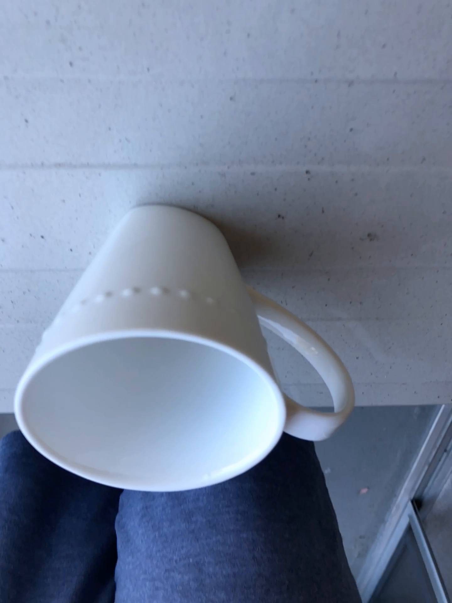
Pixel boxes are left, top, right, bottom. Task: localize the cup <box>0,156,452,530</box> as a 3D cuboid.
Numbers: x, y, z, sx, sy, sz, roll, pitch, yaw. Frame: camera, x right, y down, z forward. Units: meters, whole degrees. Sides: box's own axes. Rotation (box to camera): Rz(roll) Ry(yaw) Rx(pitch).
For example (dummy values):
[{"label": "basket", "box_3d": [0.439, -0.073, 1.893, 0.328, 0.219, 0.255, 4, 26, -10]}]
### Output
[{"label": "cup", "box_3d": [-0.005, 0.019, 0.209, 0.140, 0.099, 0.100, 7, 129, -10]}]
